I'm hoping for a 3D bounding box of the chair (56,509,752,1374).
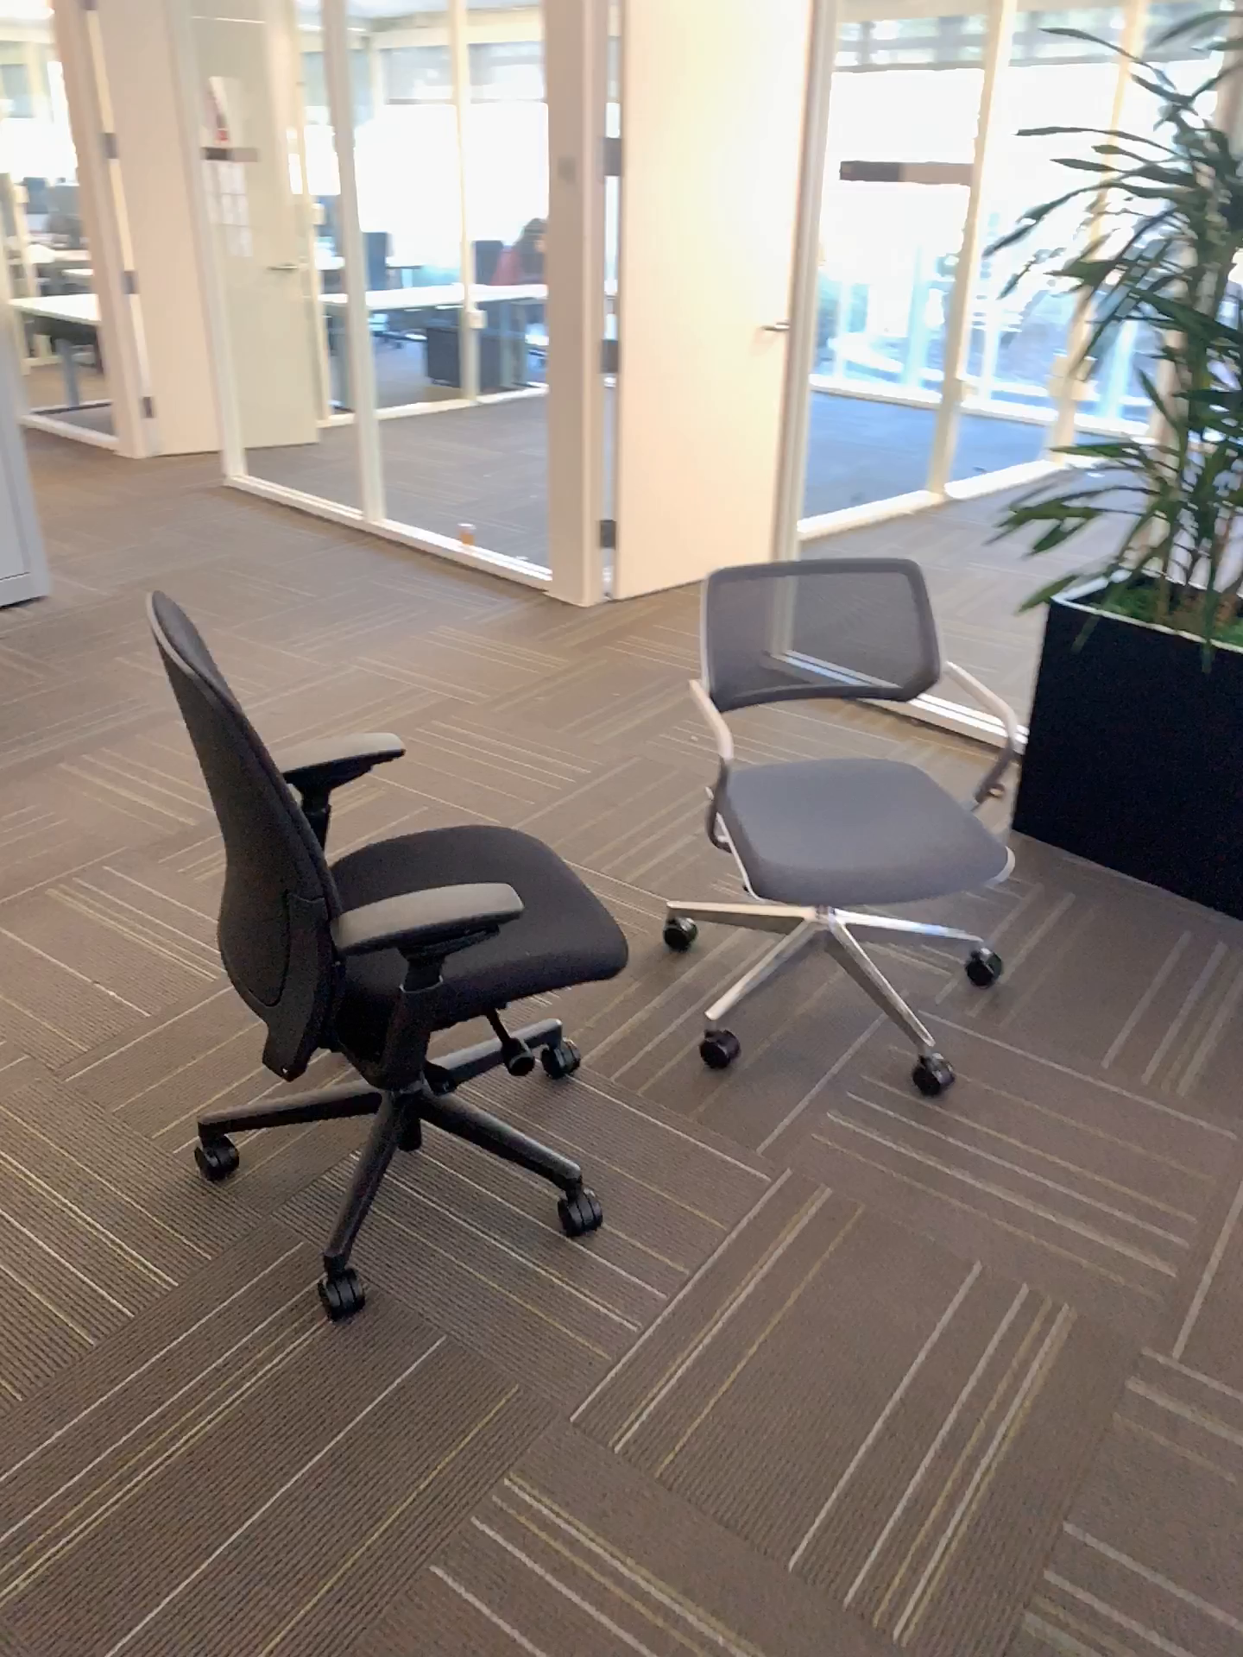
[{"bbox_3d":[-0.355,0.086,1.986,0.710,0.915,0.824,-14,31,-27],"label":"chair"}]

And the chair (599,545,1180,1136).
[{"bbox_3d":[0.420,-0.033,2.407,0.730,0.776,0.755,-7,29,-16],"label":"chair"}]

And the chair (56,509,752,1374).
[{"bbox_3d":[-0.355,0.086,1.986,0.710,0.915,0.824,-14,31,-27],"label":"chair"}]
